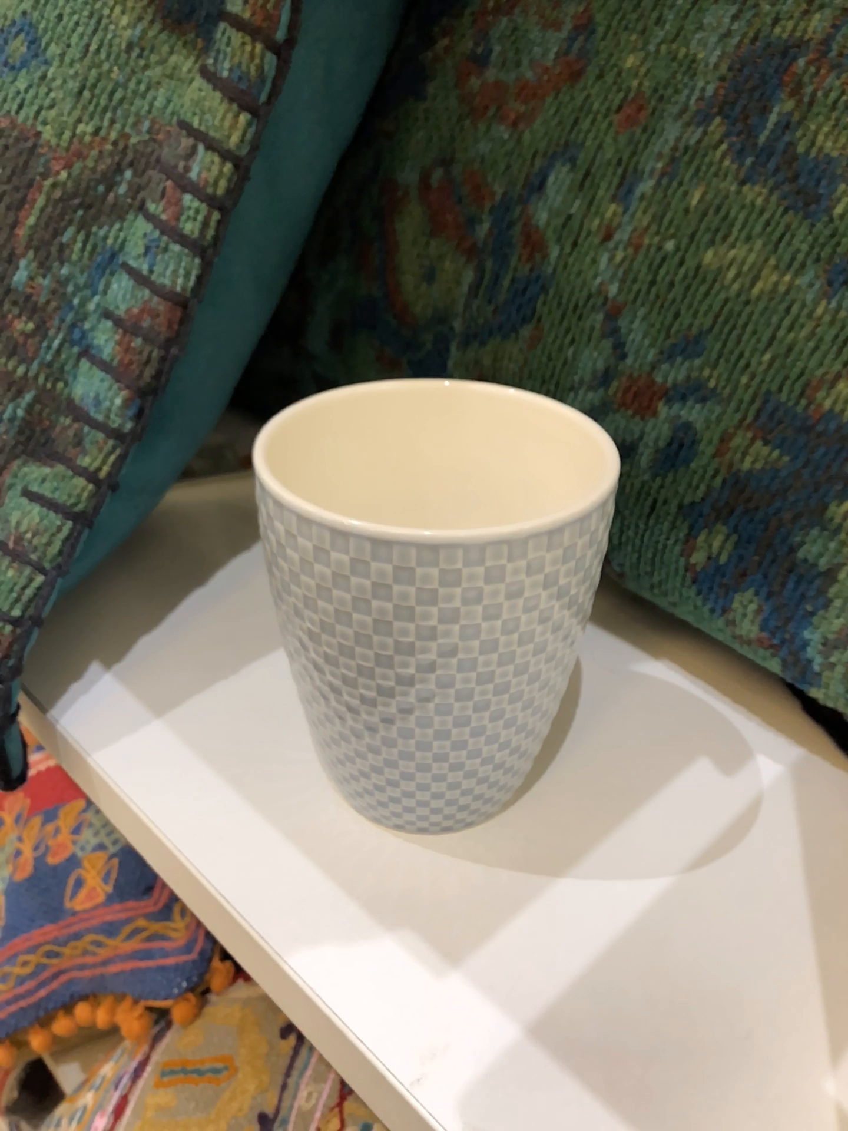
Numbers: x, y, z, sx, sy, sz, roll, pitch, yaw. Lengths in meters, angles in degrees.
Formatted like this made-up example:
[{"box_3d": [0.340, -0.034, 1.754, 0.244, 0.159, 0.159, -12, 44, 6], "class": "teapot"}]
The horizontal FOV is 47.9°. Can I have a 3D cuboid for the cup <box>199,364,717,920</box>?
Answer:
[{"box_3d": [-0.001, 0.010, 0.233, 0.090, 0.079, 0.101, -8, 32, -13], "class": "cup"}]
